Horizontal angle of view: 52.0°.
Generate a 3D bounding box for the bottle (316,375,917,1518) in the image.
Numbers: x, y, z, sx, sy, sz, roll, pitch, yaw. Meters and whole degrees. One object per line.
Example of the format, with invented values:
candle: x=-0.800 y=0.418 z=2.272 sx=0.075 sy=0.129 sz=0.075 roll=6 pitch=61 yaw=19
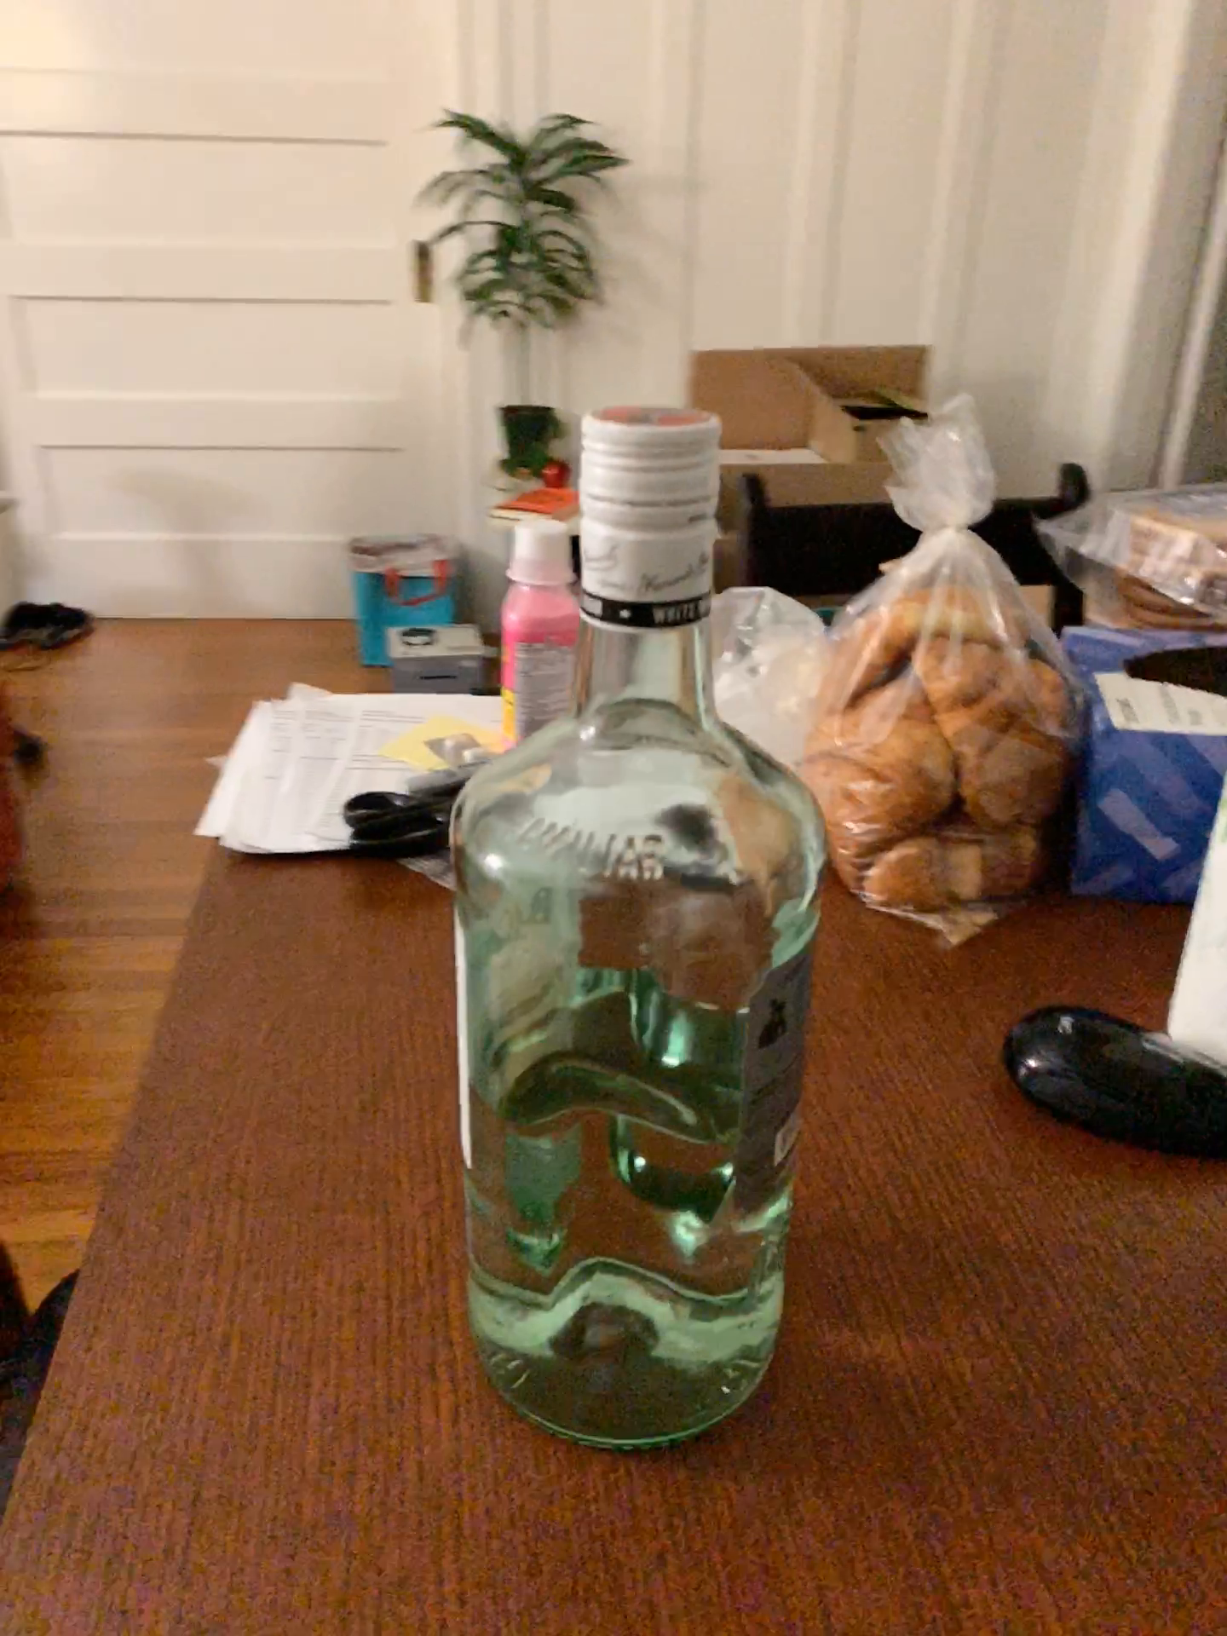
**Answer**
bottle: x=0.004 y=0.042 z=0.403 sx=0.120 sy=0.328 sz=0.120 roll=1 pitch=26 yaw=-1
